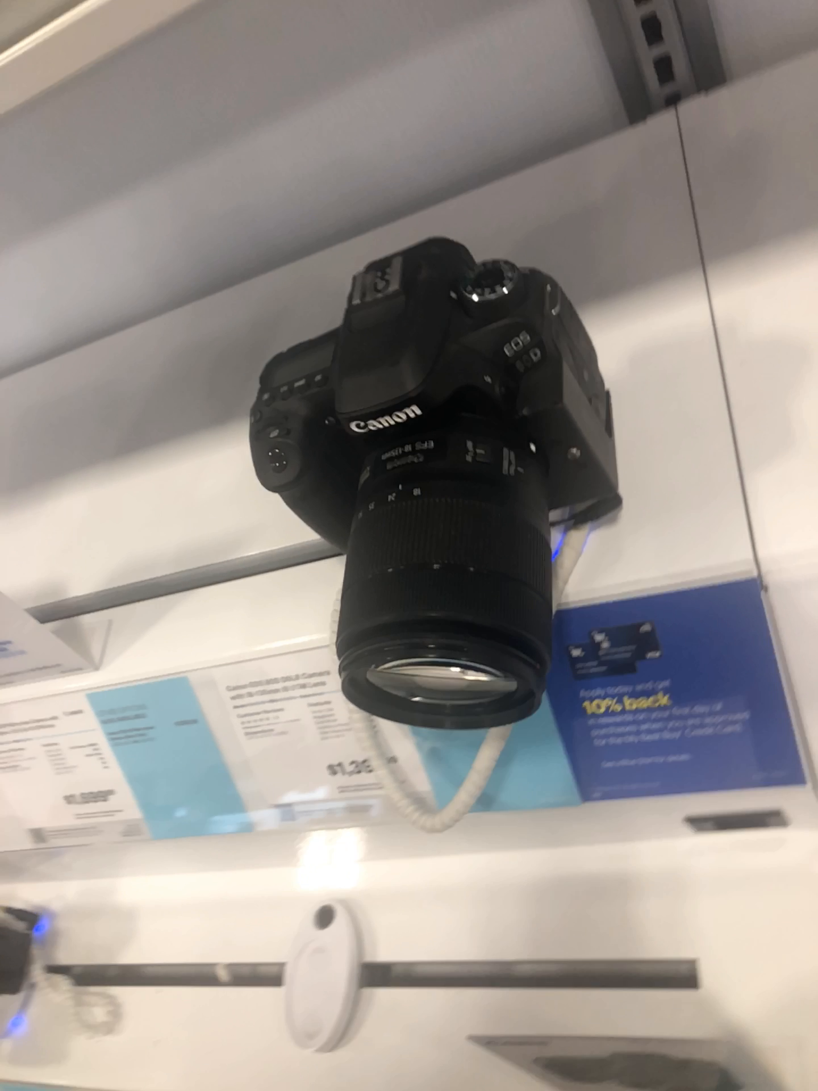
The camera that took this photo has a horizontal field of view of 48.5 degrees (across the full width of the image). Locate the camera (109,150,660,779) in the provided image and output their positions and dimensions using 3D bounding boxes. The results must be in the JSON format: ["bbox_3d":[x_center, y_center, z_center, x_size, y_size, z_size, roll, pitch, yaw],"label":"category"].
[{"bbox_3d":[-0.001,-0.021,0.349,0.151,0.110,0.180,-13,56,25],"label":"camera"}]
